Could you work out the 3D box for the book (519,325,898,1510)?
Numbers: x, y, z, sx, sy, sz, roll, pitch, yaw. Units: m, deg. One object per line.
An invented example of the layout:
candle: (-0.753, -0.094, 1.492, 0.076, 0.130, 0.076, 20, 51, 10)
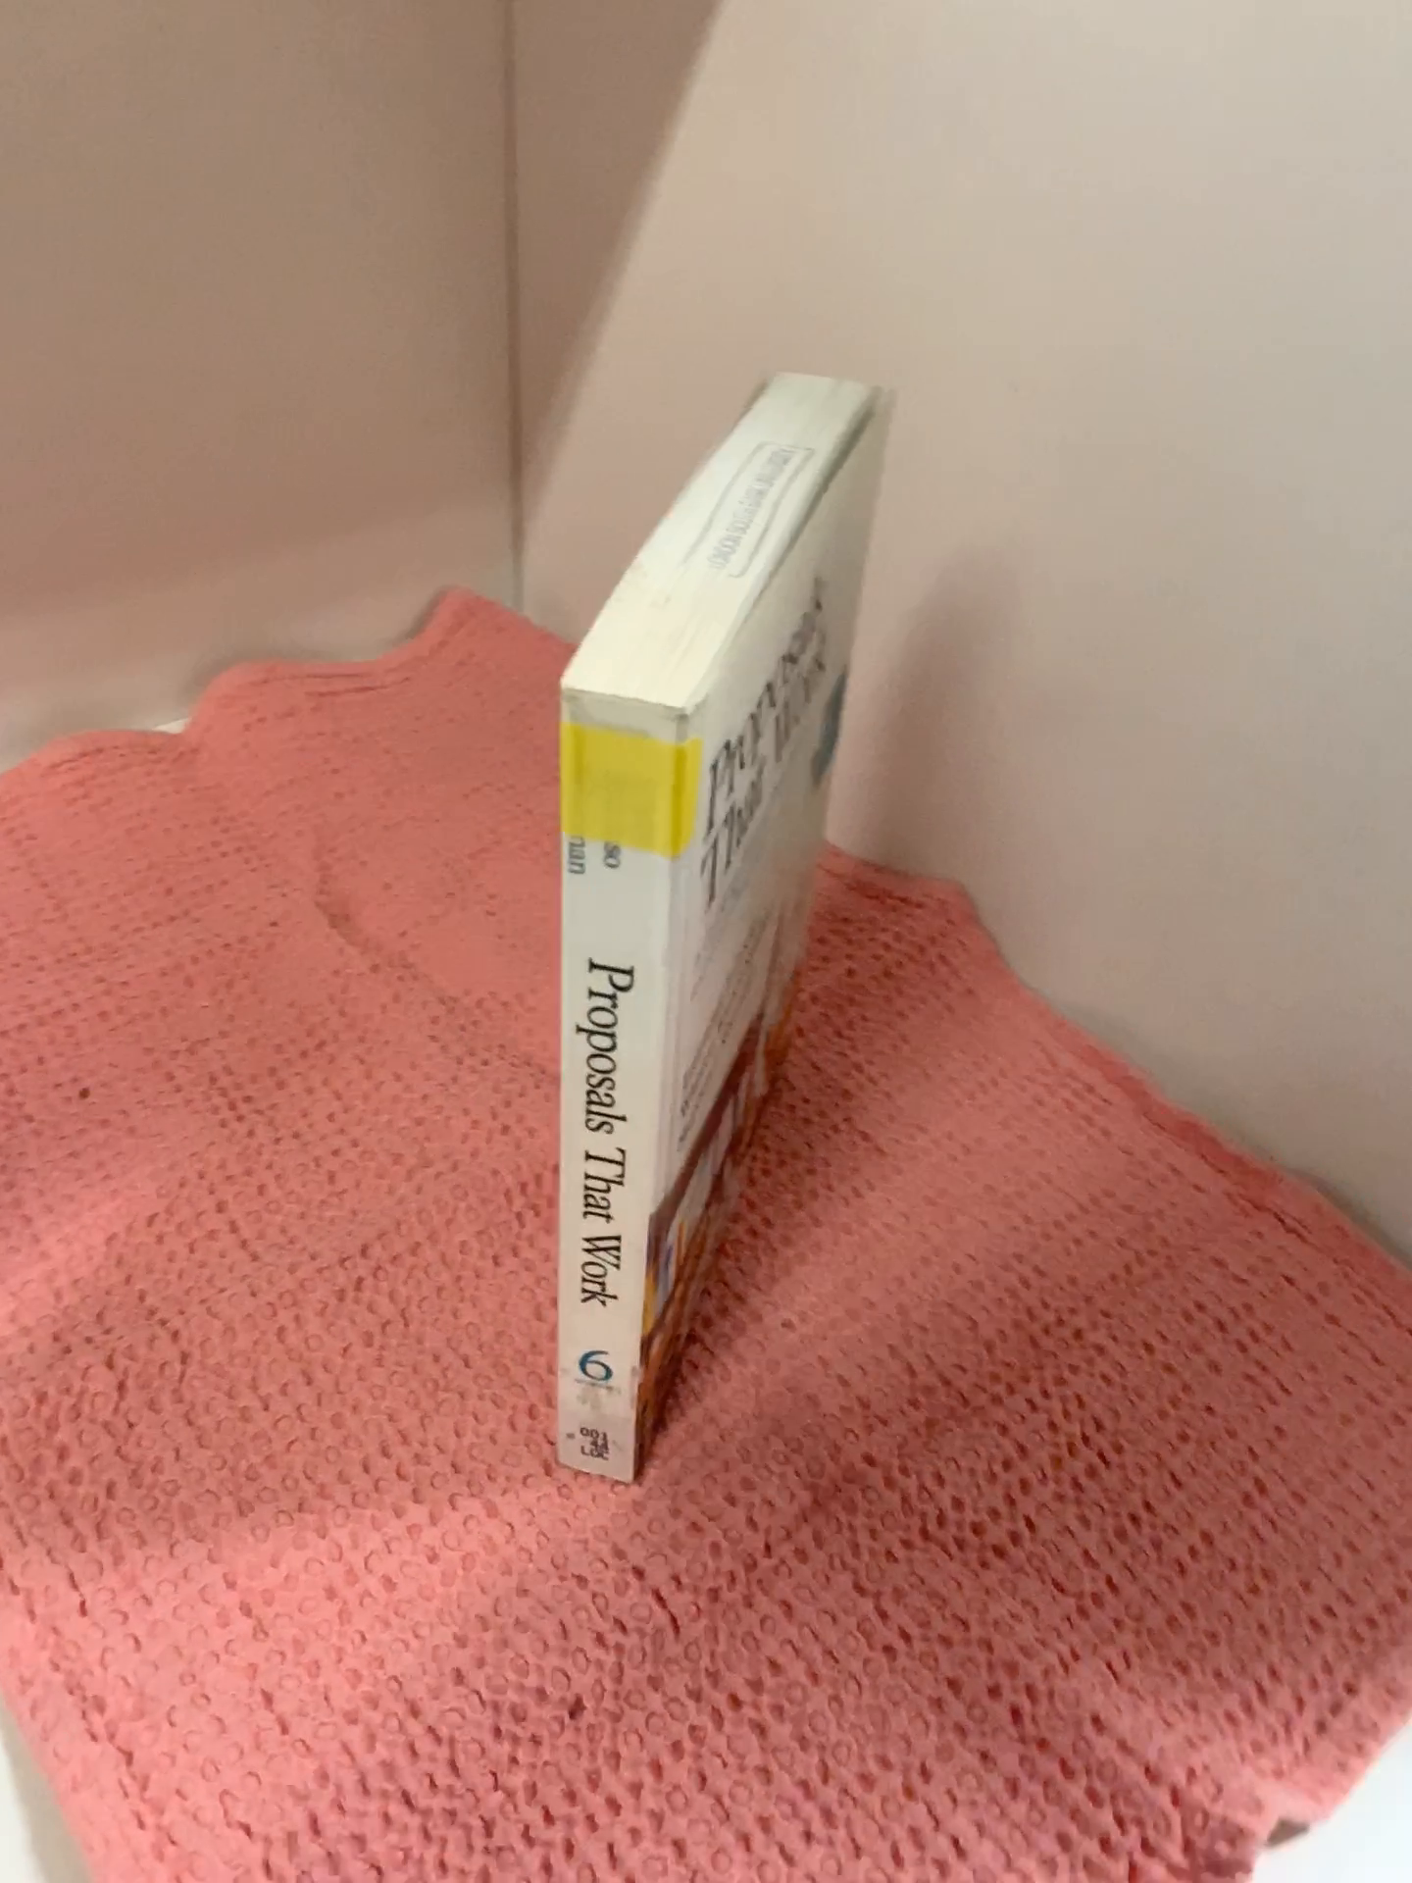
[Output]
book: (0.001, -0.004, 0.367, 0.030, 0.238, 0.182, 13, 40, 9)
